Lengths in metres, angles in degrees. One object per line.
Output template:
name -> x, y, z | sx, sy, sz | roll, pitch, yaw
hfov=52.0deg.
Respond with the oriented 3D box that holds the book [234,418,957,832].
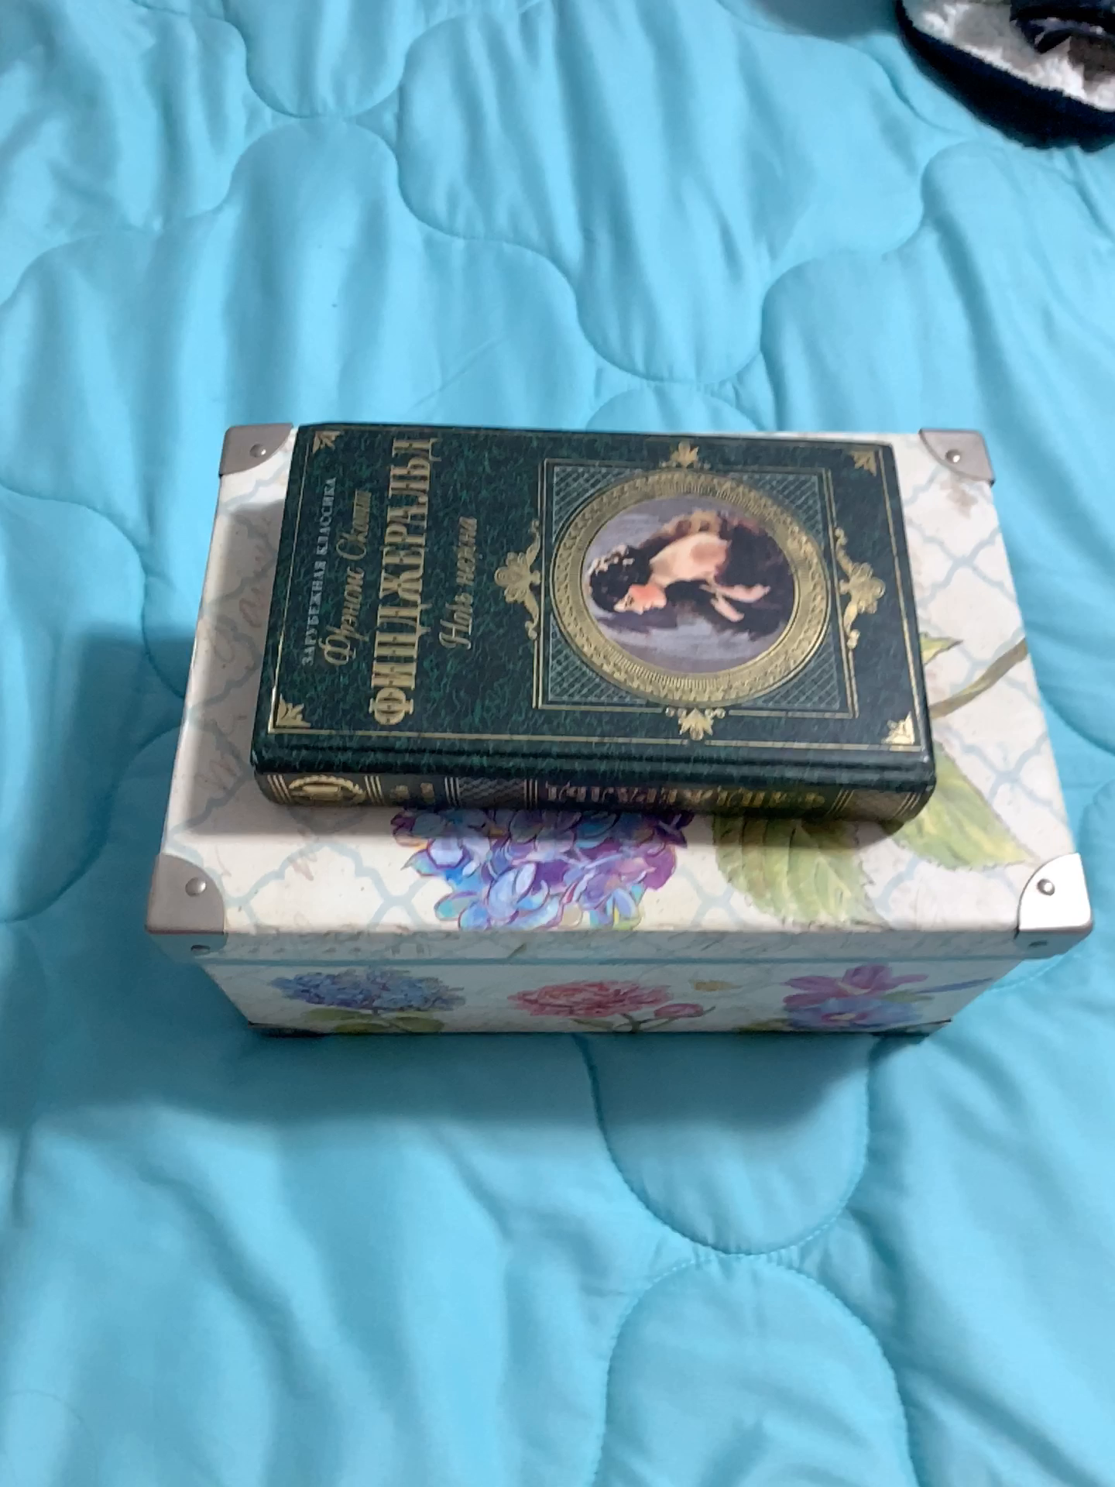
book -> 0.013, -0.043, 0.393 | 0.220, 0.030, 0.140 | 2, 63, -2
